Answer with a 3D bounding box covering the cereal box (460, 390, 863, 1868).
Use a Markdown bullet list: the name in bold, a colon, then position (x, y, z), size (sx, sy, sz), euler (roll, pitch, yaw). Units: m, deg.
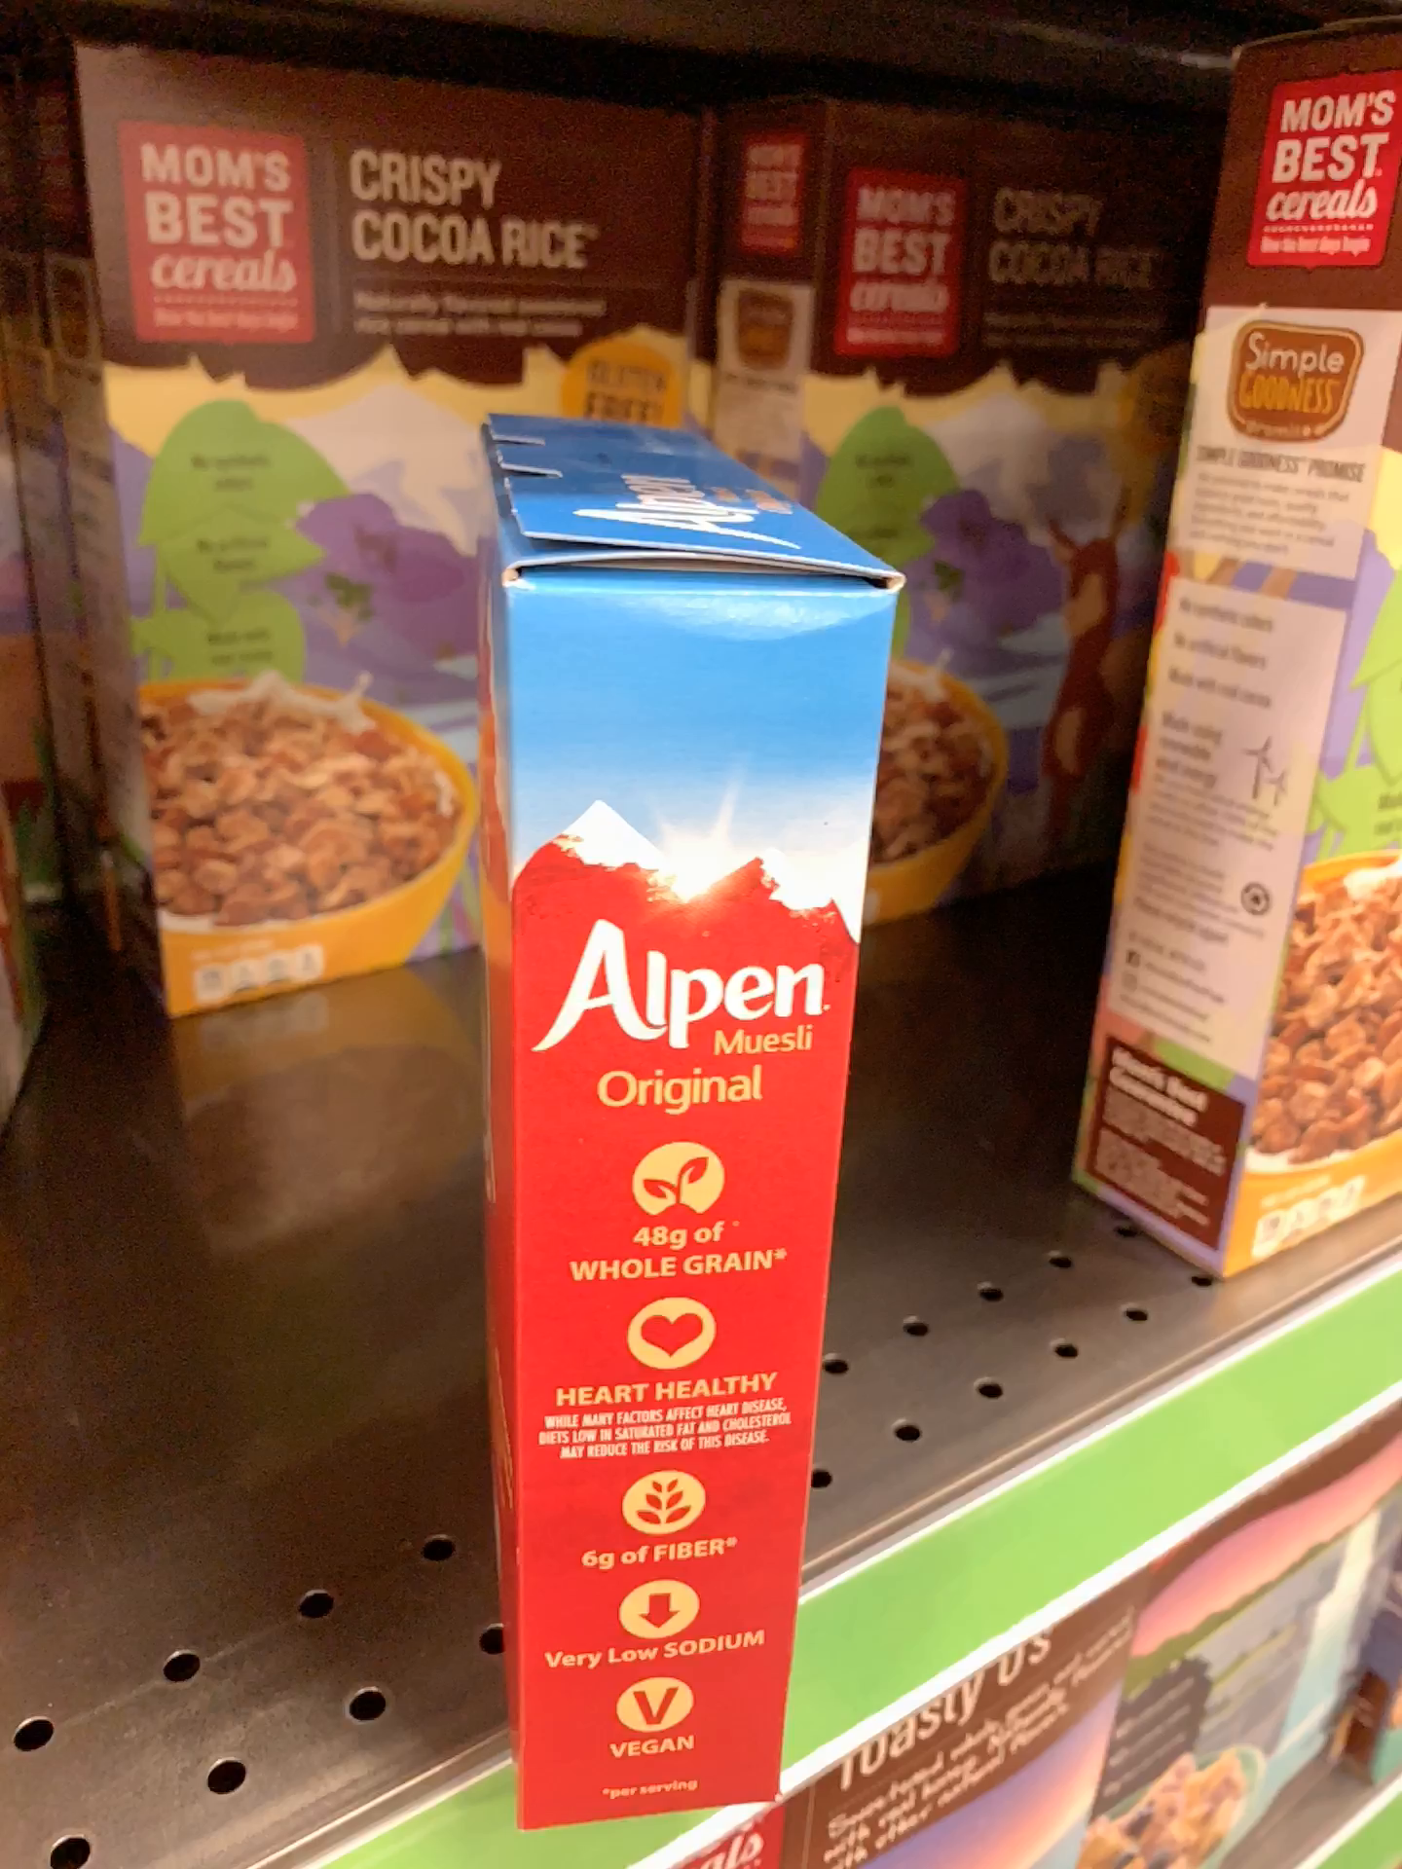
- **cereal box**: position (-0.019, 0.022, 0.260), size (0.040, 0.209, 0.161), euler (-2, 24, -9)
